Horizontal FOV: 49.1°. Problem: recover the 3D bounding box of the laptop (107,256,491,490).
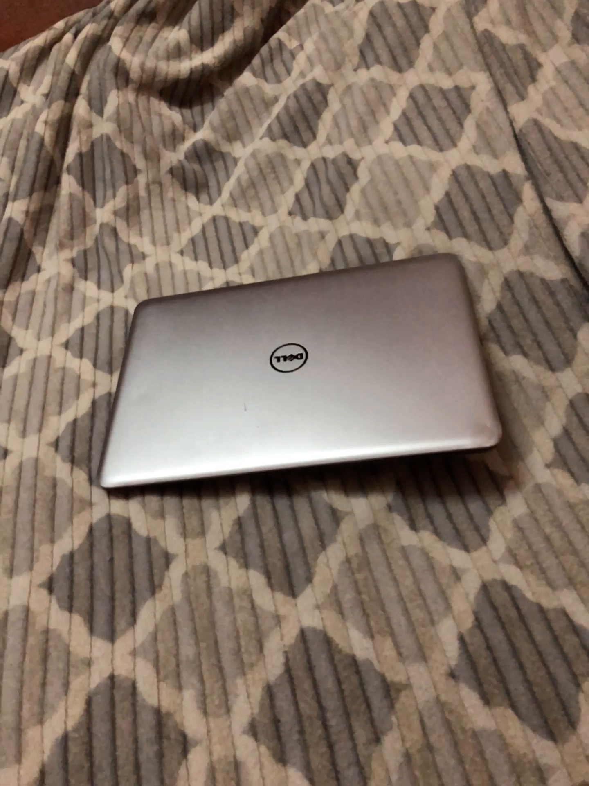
[{"bbox_3d":[-0.004,-0.030,0.674,0.359,0.007,0.252,-7,51,8],"label":"laptop"}]
